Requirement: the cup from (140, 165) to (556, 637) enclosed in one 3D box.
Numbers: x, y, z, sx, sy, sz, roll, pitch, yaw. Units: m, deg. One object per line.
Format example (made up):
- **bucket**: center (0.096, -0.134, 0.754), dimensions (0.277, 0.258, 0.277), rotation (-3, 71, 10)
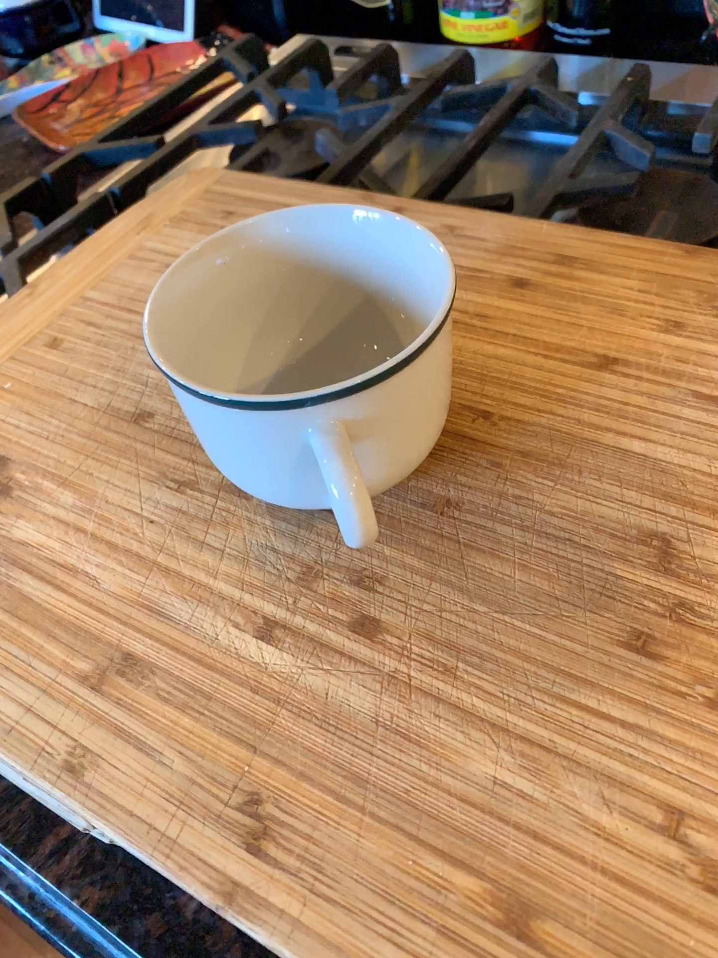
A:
- **cup**: center (-0.009, -0.030, 0.231), dimensions (0.090, 0.060, 0.121), rotation (-17, 49, -4)
